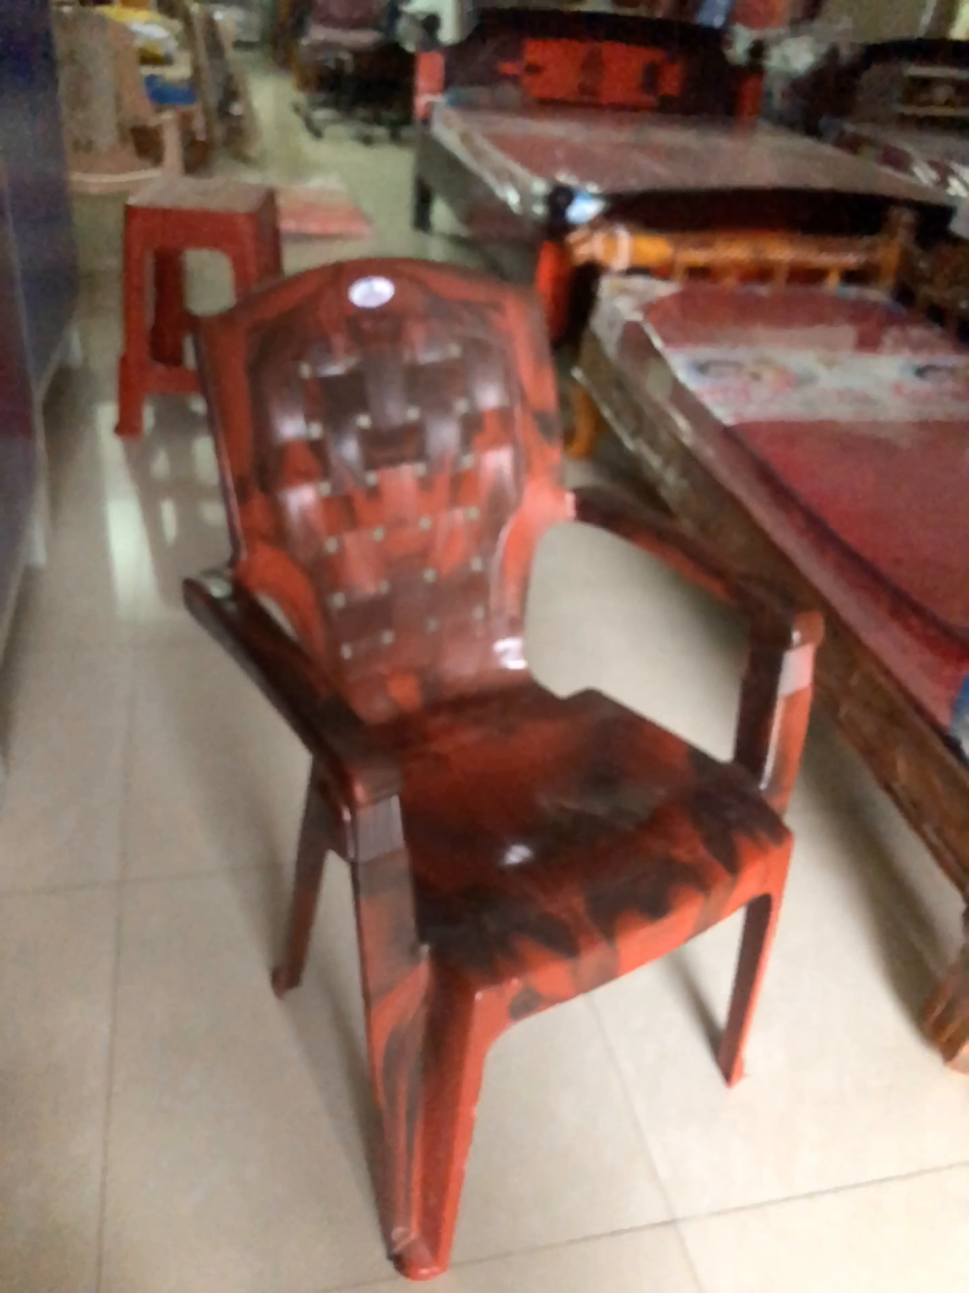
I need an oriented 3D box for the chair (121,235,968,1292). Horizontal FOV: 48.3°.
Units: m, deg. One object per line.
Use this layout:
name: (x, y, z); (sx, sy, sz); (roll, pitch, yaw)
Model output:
chair: (0.010, 0.098, 1.151); (0.532, 0.865, 0.561); (-16, 39, -29)
